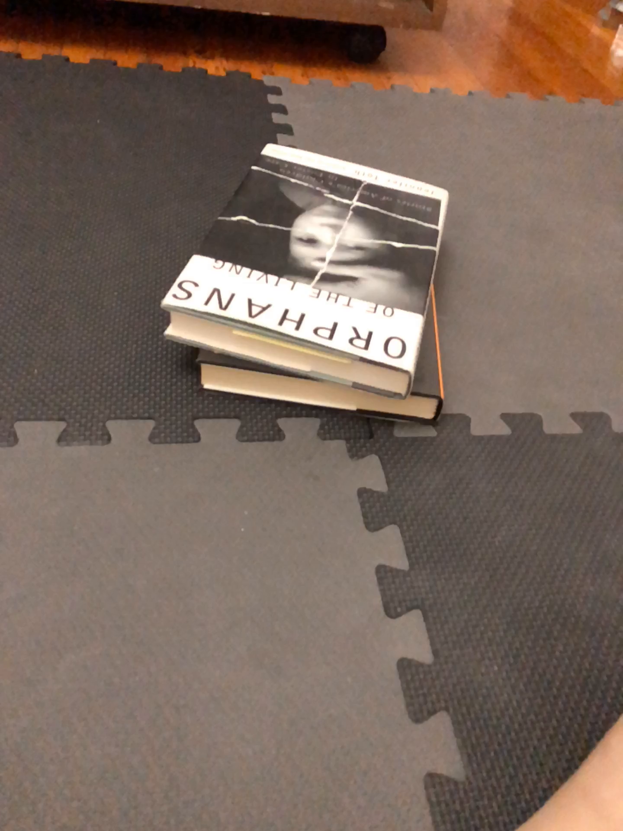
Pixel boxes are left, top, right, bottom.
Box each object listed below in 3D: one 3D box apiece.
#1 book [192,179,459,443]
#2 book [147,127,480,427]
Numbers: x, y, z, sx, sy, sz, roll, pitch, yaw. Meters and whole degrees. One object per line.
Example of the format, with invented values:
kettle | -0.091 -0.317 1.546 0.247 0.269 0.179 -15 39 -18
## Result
book | 0.013 -0.092 0.504 0.160 0.030 0.251 7 45 -3
book | 0.022 -0.121 0.493 0.180 0.030 0.282 14 45 4
